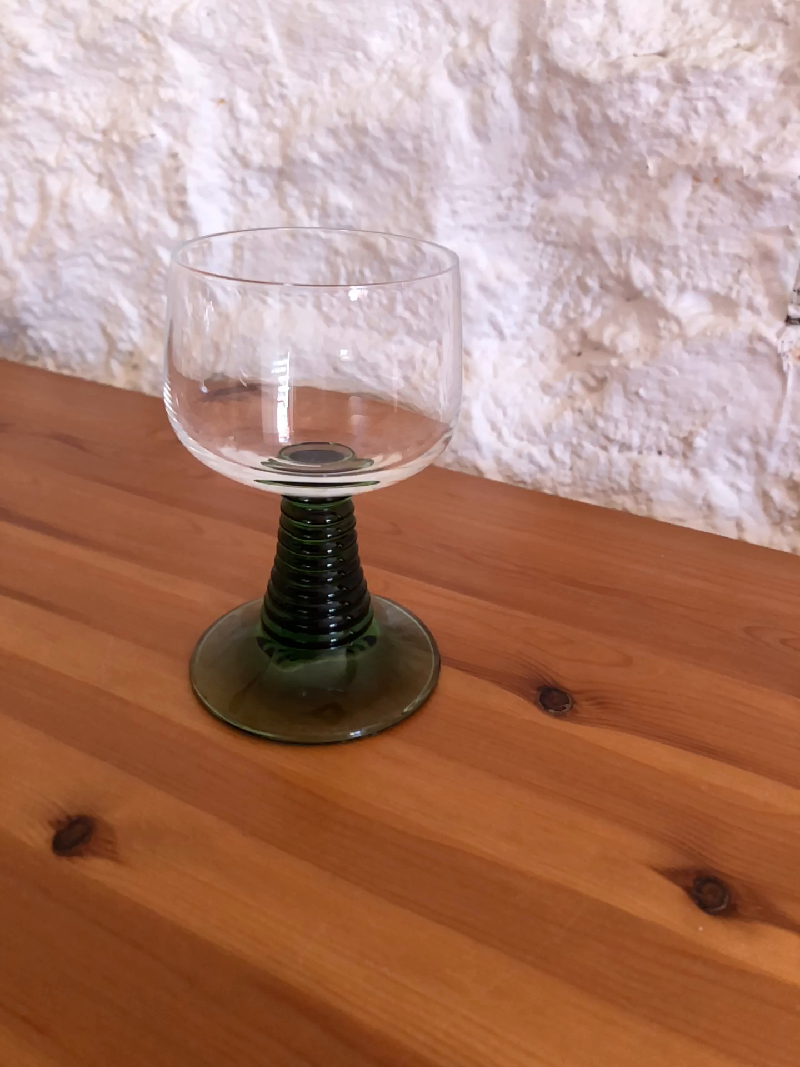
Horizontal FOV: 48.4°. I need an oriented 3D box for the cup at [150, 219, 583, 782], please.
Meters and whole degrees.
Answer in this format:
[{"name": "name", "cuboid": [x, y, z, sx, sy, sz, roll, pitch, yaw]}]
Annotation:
[{"name": "cup", "cuboid": [-0.014, -0.013, 0.212, 0.074, 0.106, 0.074, 2, 28, -1]}]
